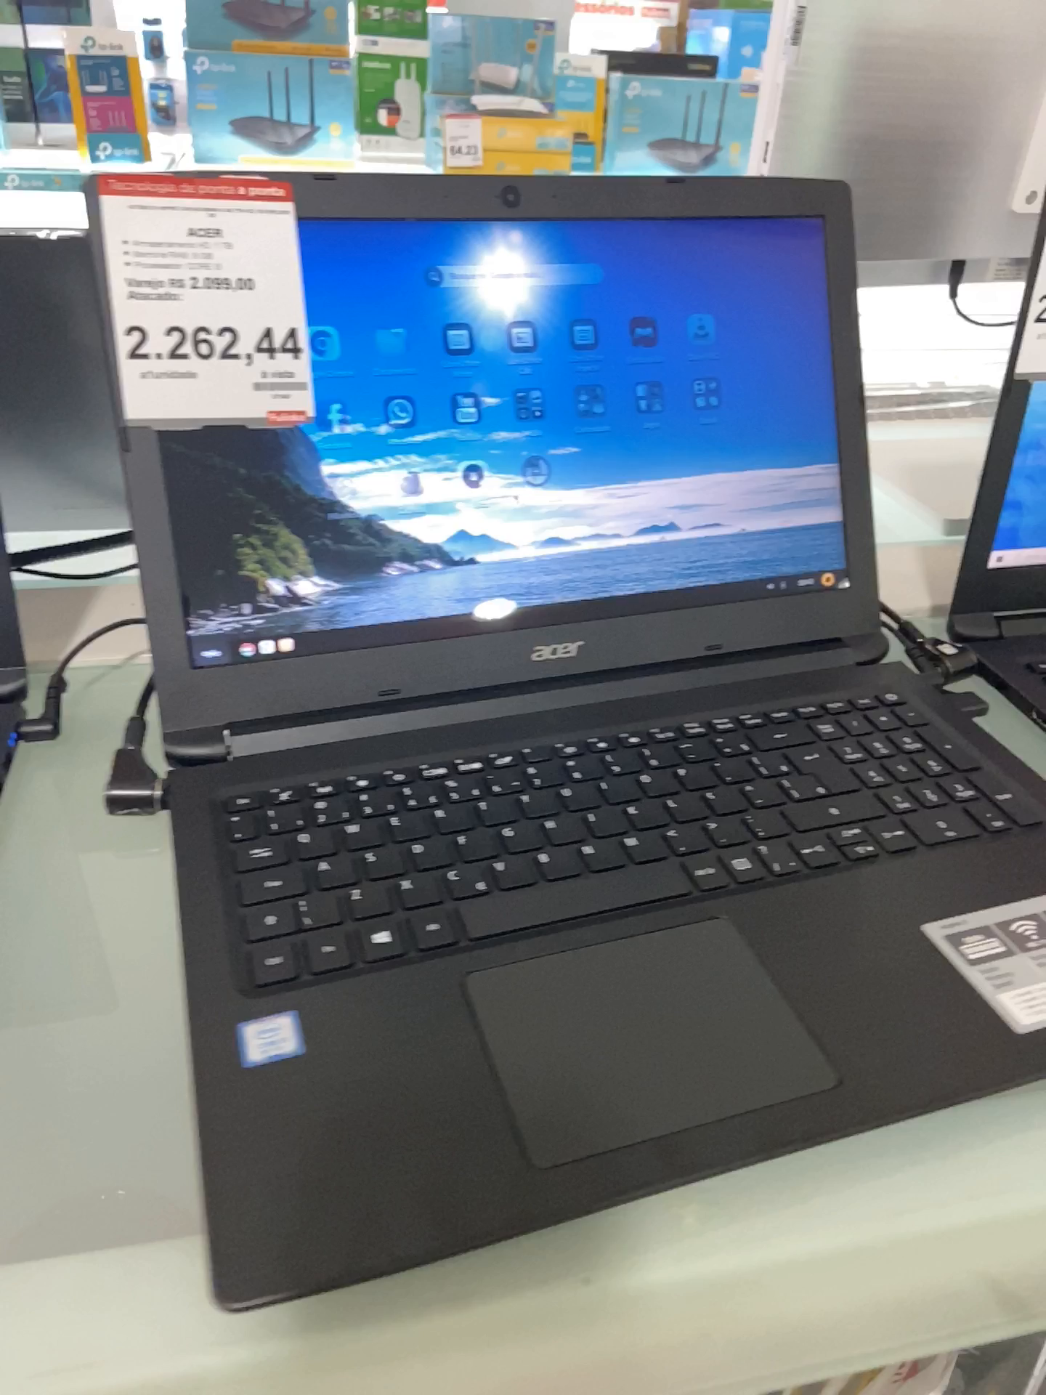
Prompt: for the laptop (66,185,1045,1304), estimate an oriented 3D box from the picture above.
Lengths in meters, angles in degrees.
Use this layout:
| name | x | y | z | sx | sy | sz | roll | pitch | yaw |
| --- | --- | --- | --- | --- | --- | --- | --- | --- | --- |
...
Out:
| name | x | y | z | sx | sy | sz | roll | pitch | yaw |
| --- | --- | --- | --- | --- | --- | --- | --- | --- | --- |
| laptop | 0.050 | -0.058 | 0.432 | 0.389 | 0.226 | 0.376 | -8 | 32 | -17 |
